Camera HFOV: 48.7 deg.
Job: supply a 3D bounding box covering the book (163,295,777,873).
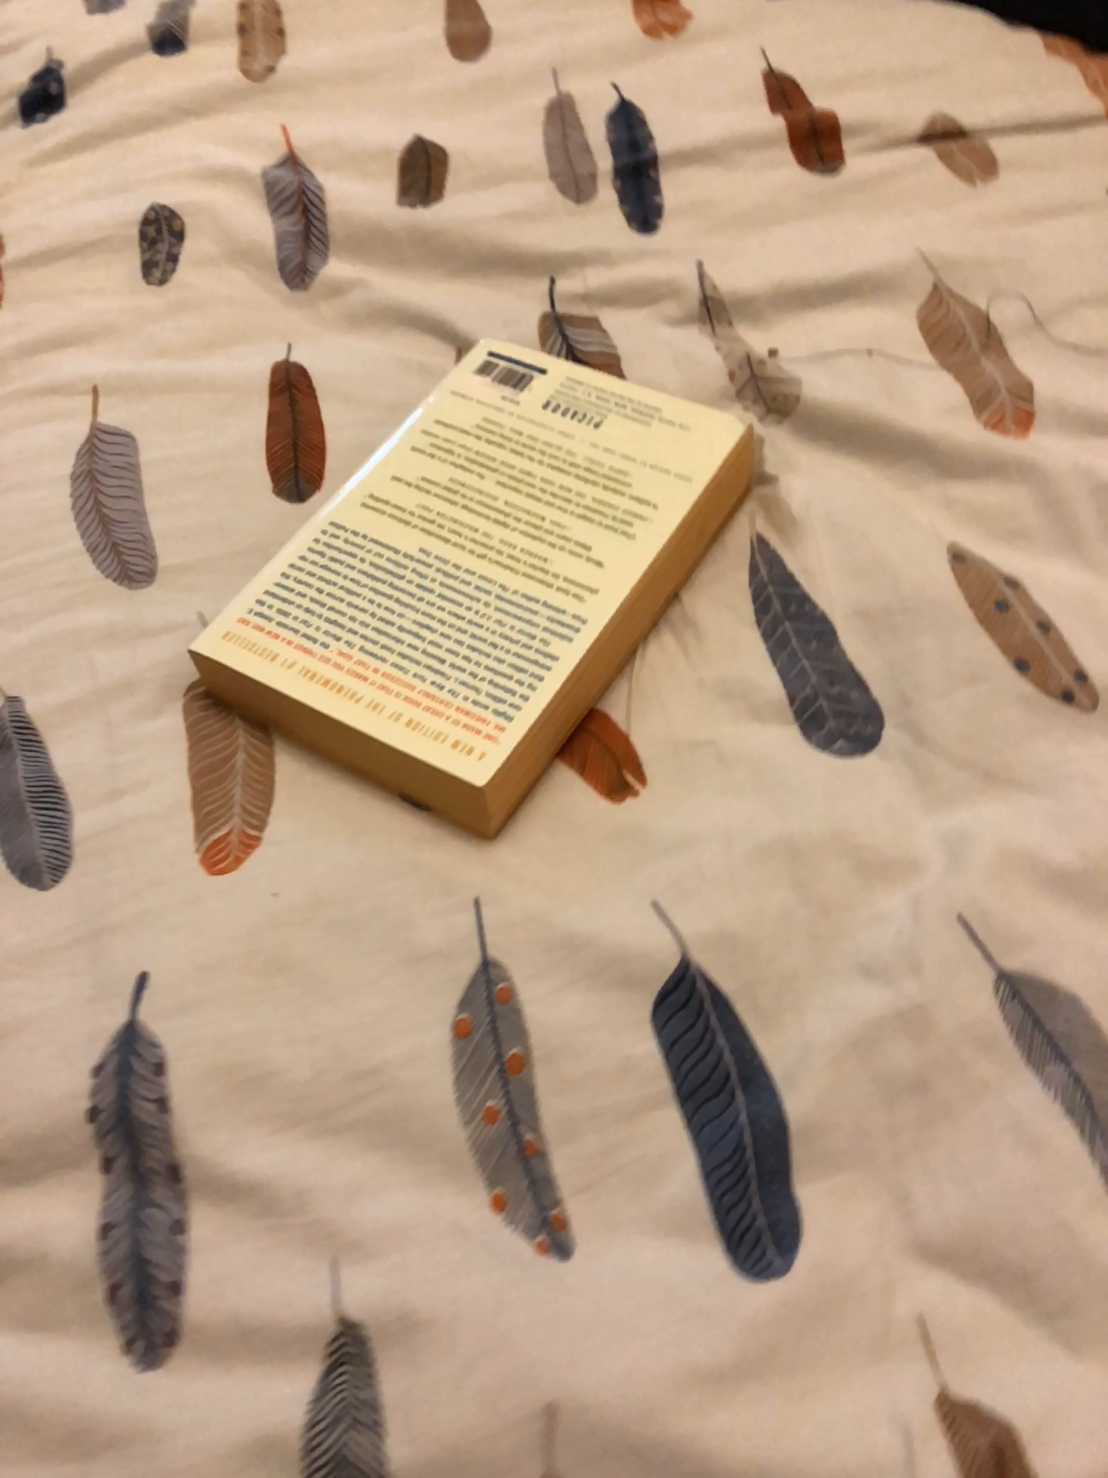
[{"bbox_3d":[-0.026,-0.075,0.499,0.150,0.040,0.221,25,63,16],"label":"book"}]
